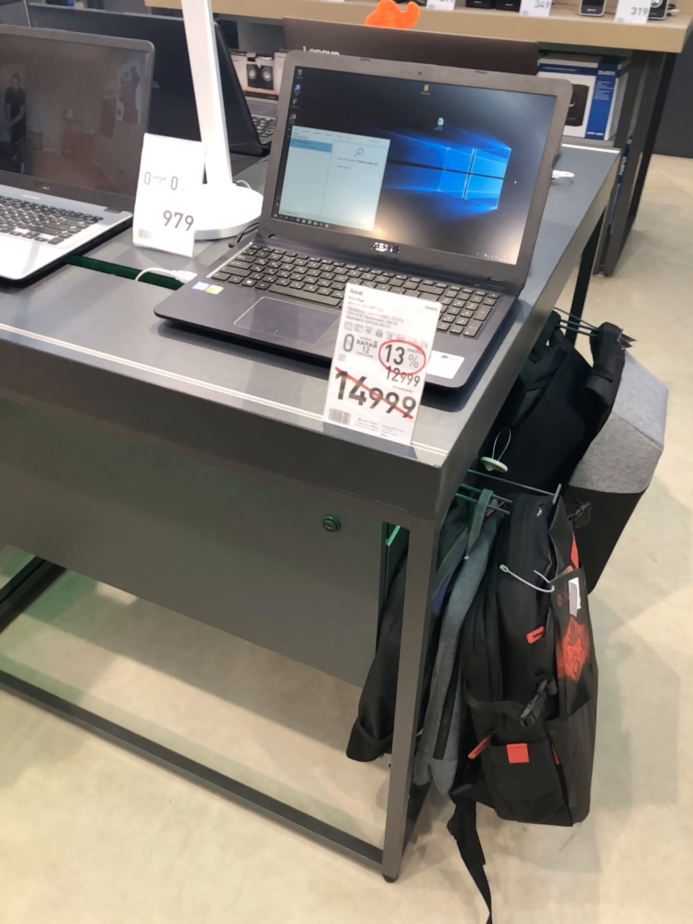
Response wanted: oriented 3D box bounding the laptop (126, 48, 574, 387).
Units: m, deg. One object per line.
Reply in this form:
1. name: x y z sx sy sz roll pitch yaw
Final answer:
1. laptop: 0.022 -0.319 0.904 0.380 0.209 0.372 16 43 19
